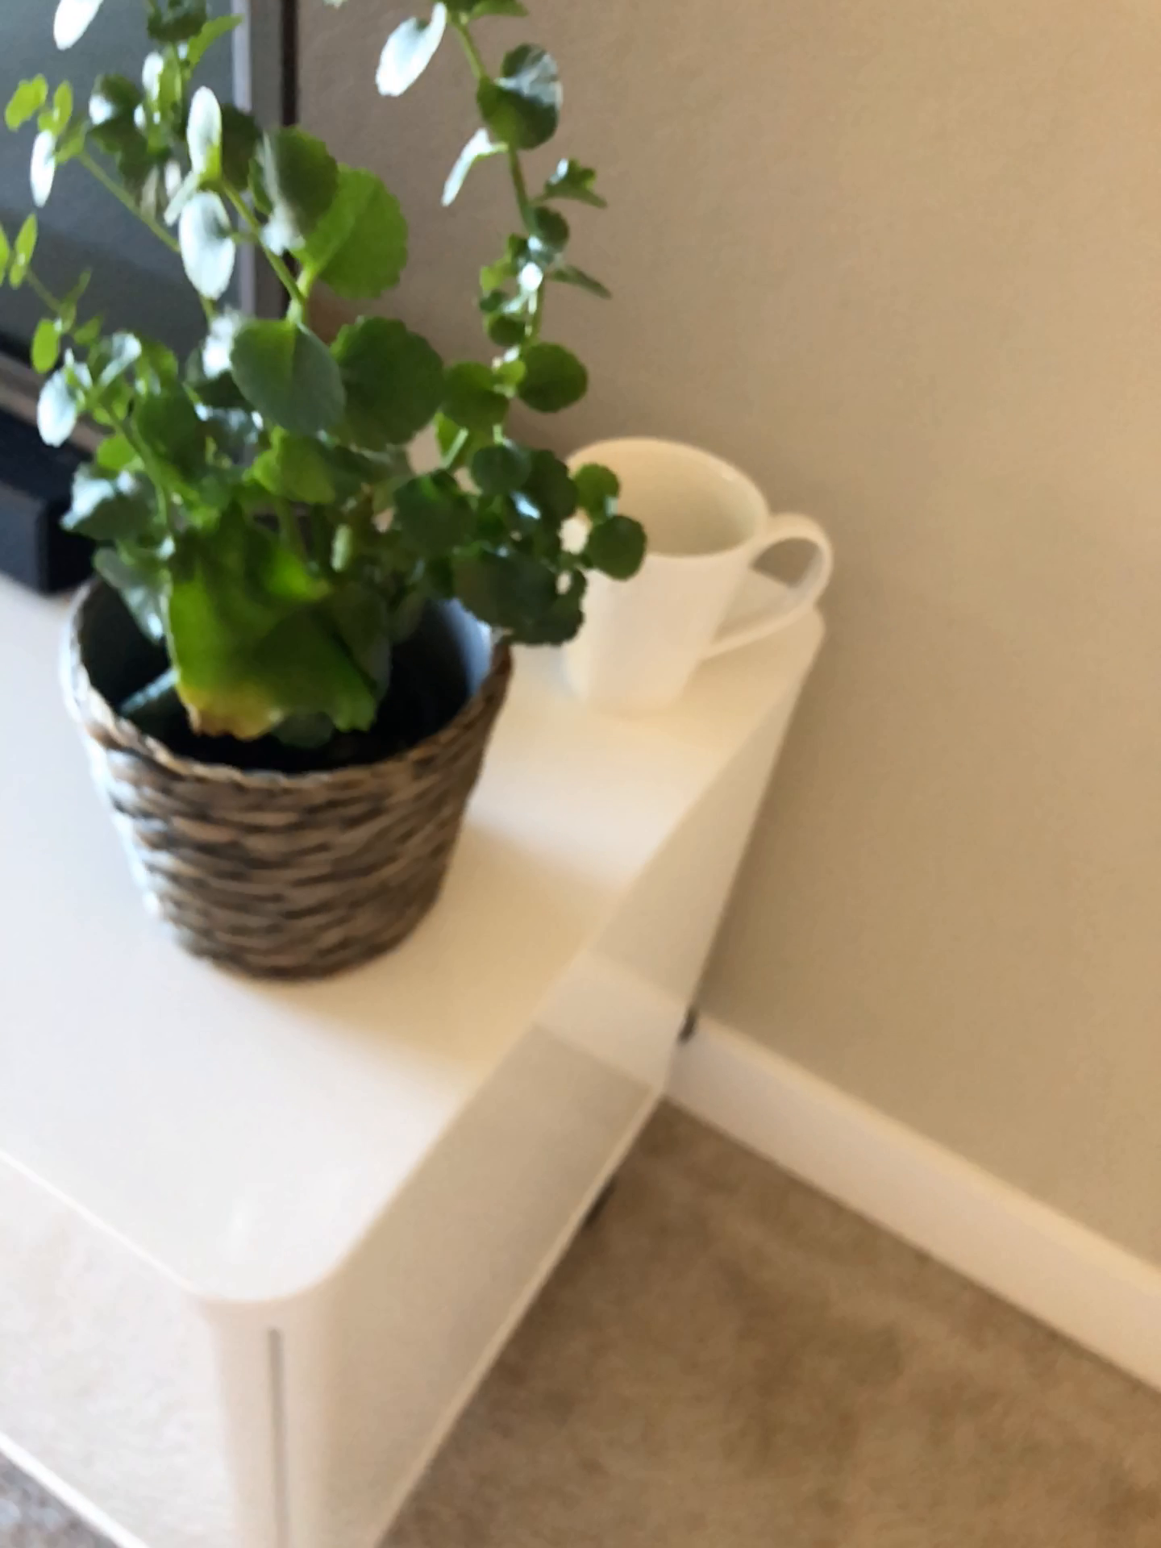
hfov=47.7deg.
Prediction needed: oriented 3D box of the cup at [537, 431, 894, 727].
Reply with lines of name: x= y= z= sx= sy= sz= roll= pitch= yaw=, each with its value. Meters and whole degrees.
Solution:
cup: x=0.054 y=-0.087 z=0.595 sx=0.130 sy=0.090 sz=0.090 roll=2 pitch=44 yaw=-11
